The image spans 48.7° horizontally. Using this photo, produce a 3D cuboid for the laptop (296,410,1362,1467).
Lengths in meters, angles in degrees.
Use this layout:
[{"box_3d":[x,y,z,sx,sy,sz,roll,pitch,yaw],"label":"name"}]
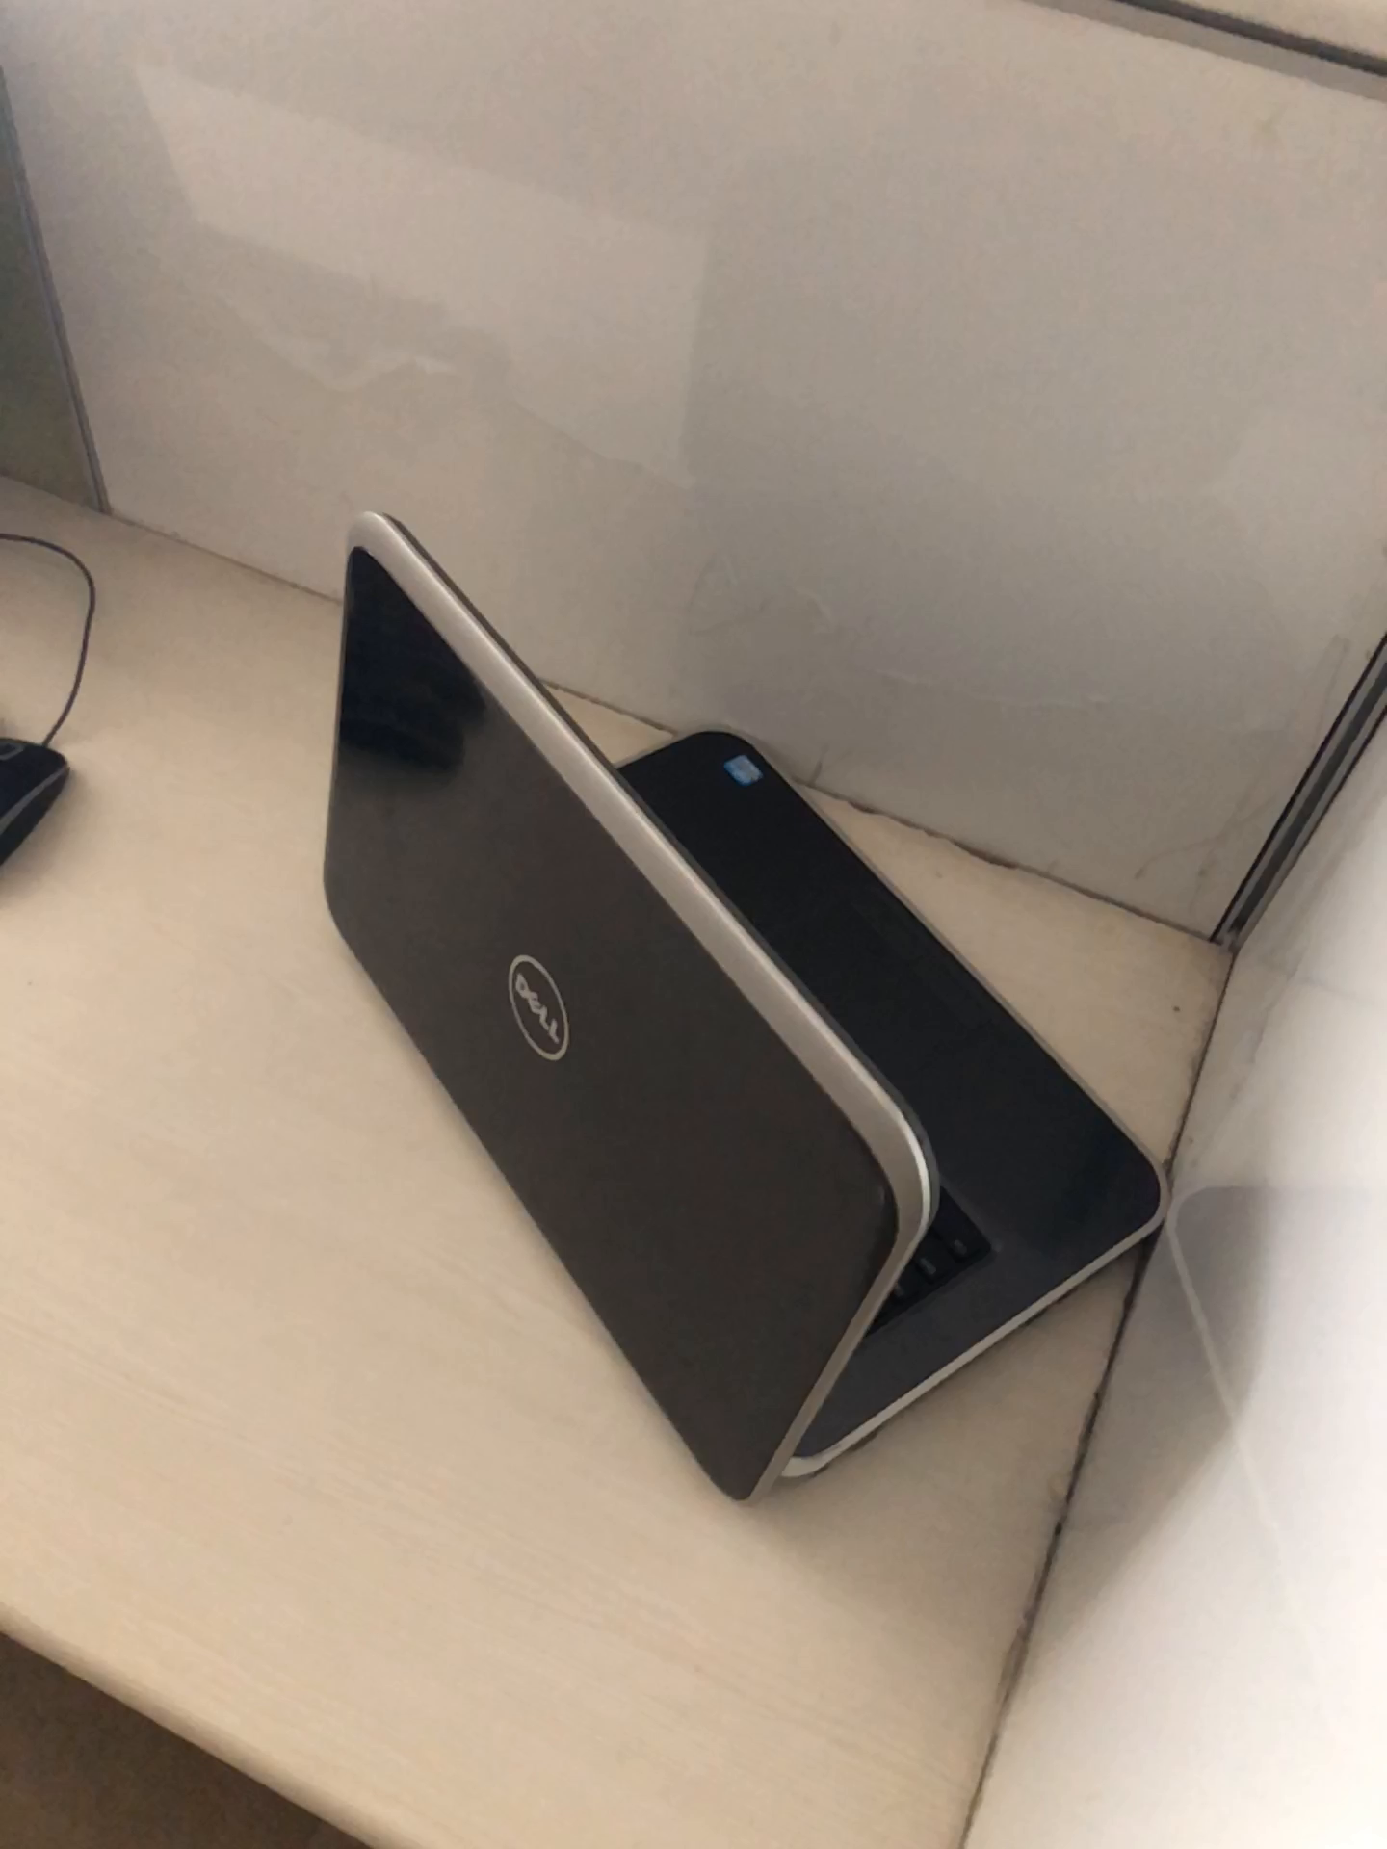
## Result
[{"box_3d":[0.036,-0.008,0.651,0.239,0.217,0.334,-27,61,-26],"label":"laptop"}]
